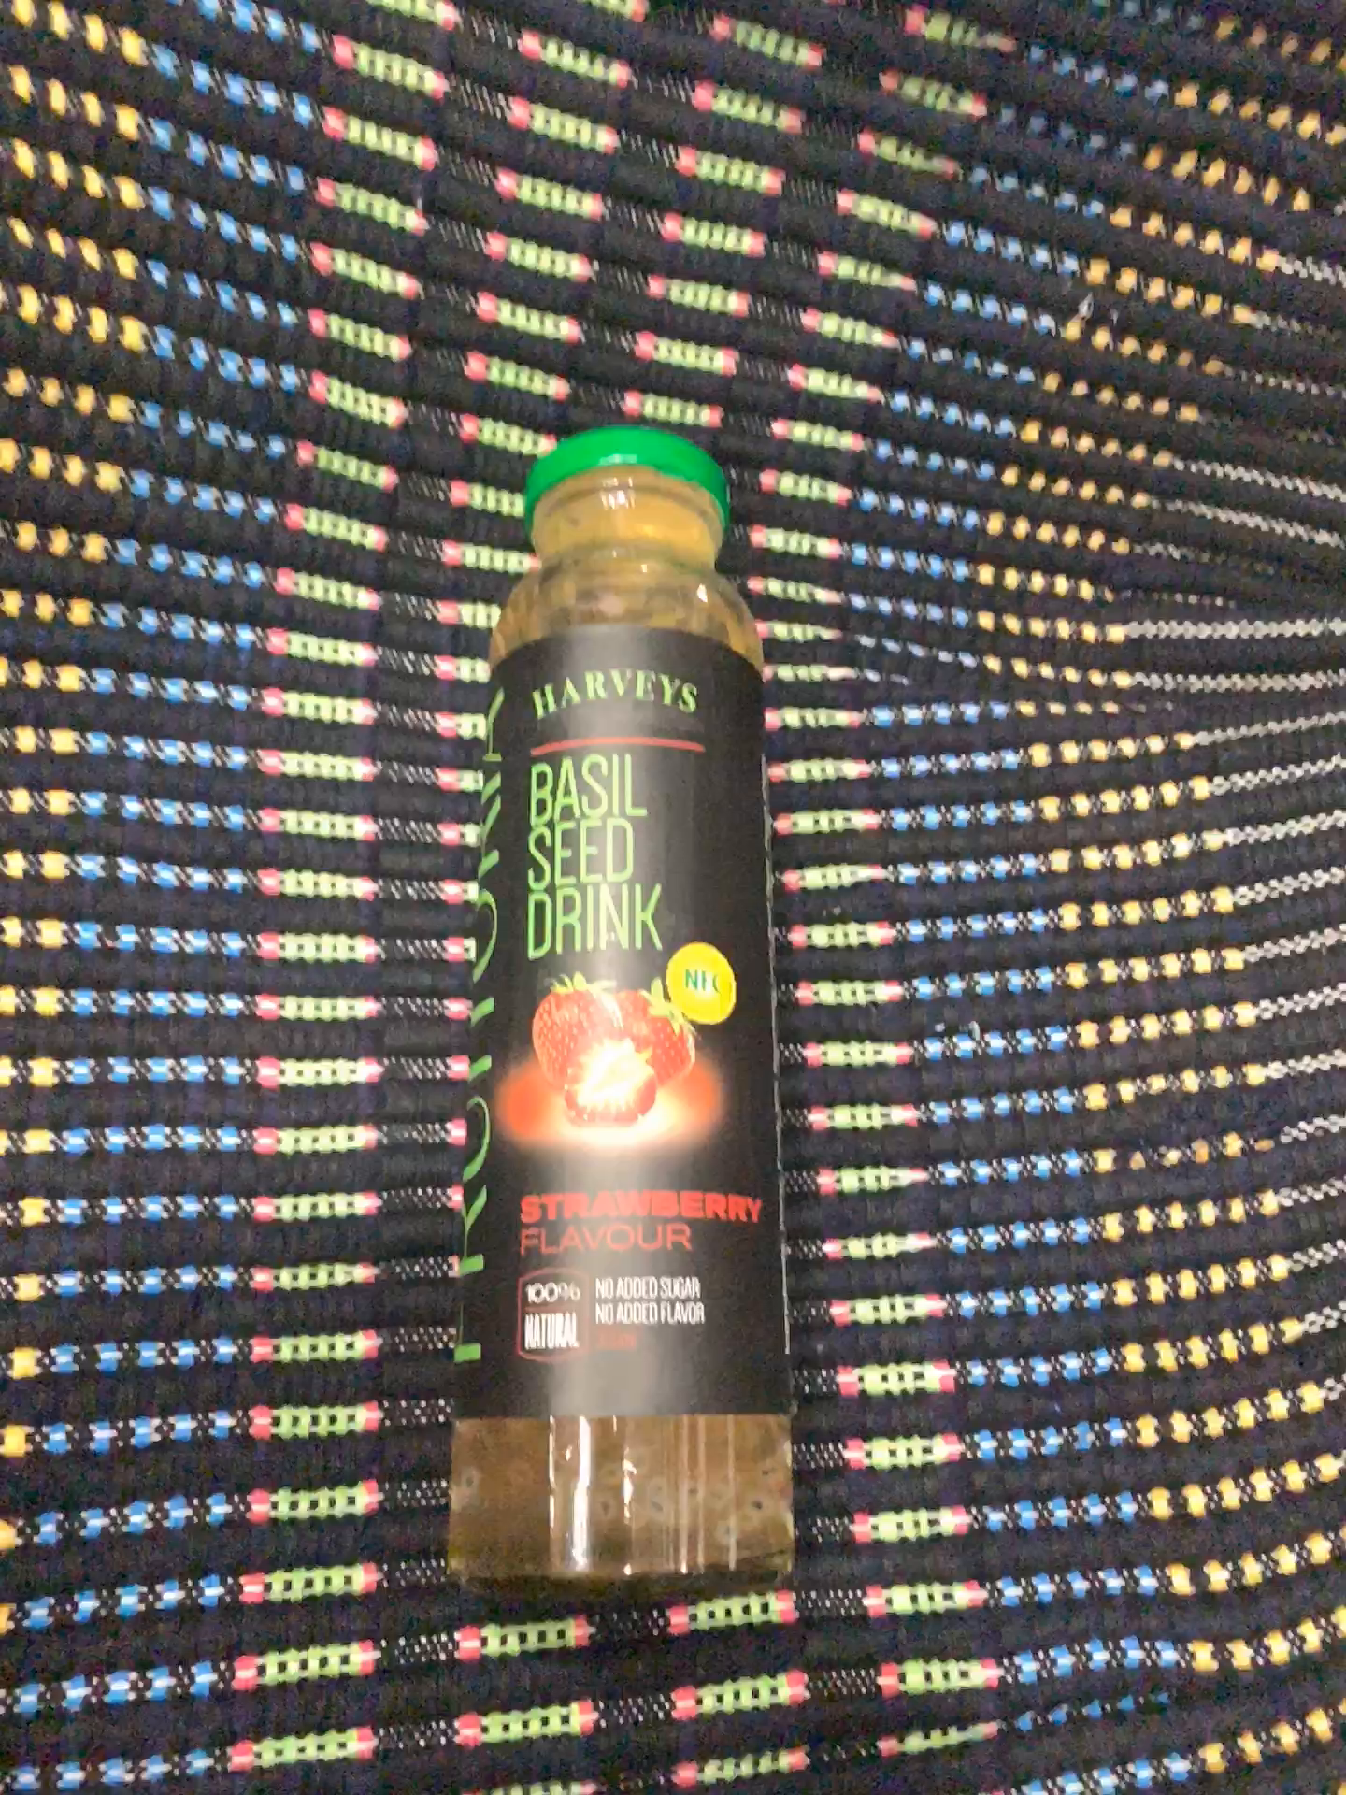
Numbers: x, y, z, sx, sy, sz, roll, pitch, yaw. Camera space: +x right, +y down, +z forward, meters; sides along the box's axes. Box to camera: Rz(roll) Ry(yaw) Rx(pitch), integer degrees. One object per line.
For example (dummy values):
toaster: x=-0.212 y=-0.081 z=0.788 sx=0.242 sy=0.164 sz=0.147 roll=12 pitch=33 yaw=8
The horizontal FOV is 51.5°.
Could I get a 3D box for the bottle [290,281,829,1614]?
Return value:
bottle: x=-0.016 y=0.003 z=0.251 sx=0.060 sy=0.060 sz=0.220 roll=-10 pitch=66 yaw=19
